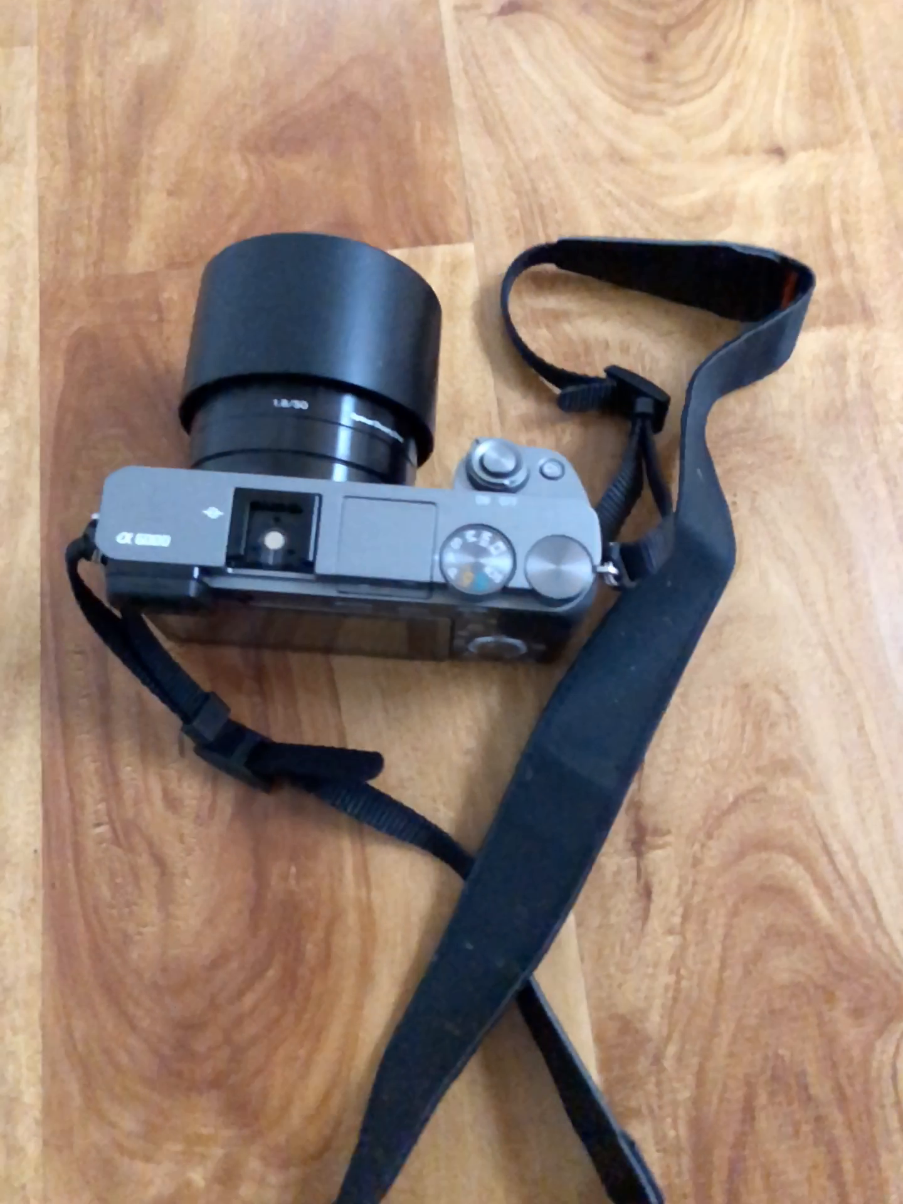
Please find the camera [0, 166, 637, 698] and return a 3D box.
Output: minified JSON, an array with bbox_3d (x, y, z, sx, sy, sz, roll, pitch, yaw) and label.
[{"bbox_3d":[-0.027,-0.041,0.274,0.140,0.080,0.110,4,72,0],"label":"camera"}]
